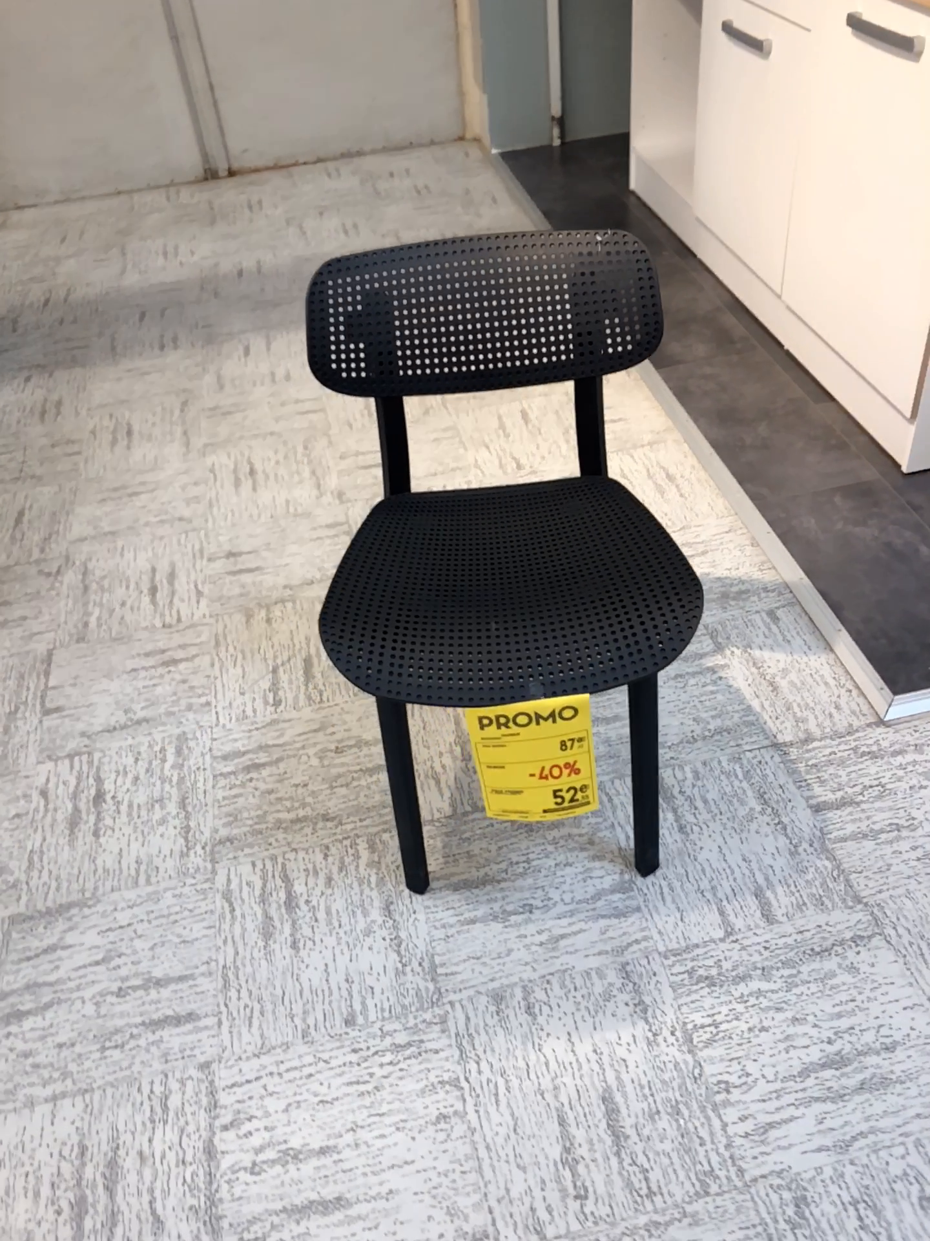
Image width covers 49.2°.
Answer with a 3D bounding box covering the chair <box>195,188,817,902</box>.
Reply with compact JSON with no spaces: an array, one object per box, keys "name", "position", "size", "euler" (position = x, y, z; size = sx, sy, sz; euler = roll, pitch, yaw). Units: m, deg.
[{"name":"chair","position":[0.054,-0.084,1.302],"size":[0.540,0.686,0.523],"euler":[-6,41,1]}]
